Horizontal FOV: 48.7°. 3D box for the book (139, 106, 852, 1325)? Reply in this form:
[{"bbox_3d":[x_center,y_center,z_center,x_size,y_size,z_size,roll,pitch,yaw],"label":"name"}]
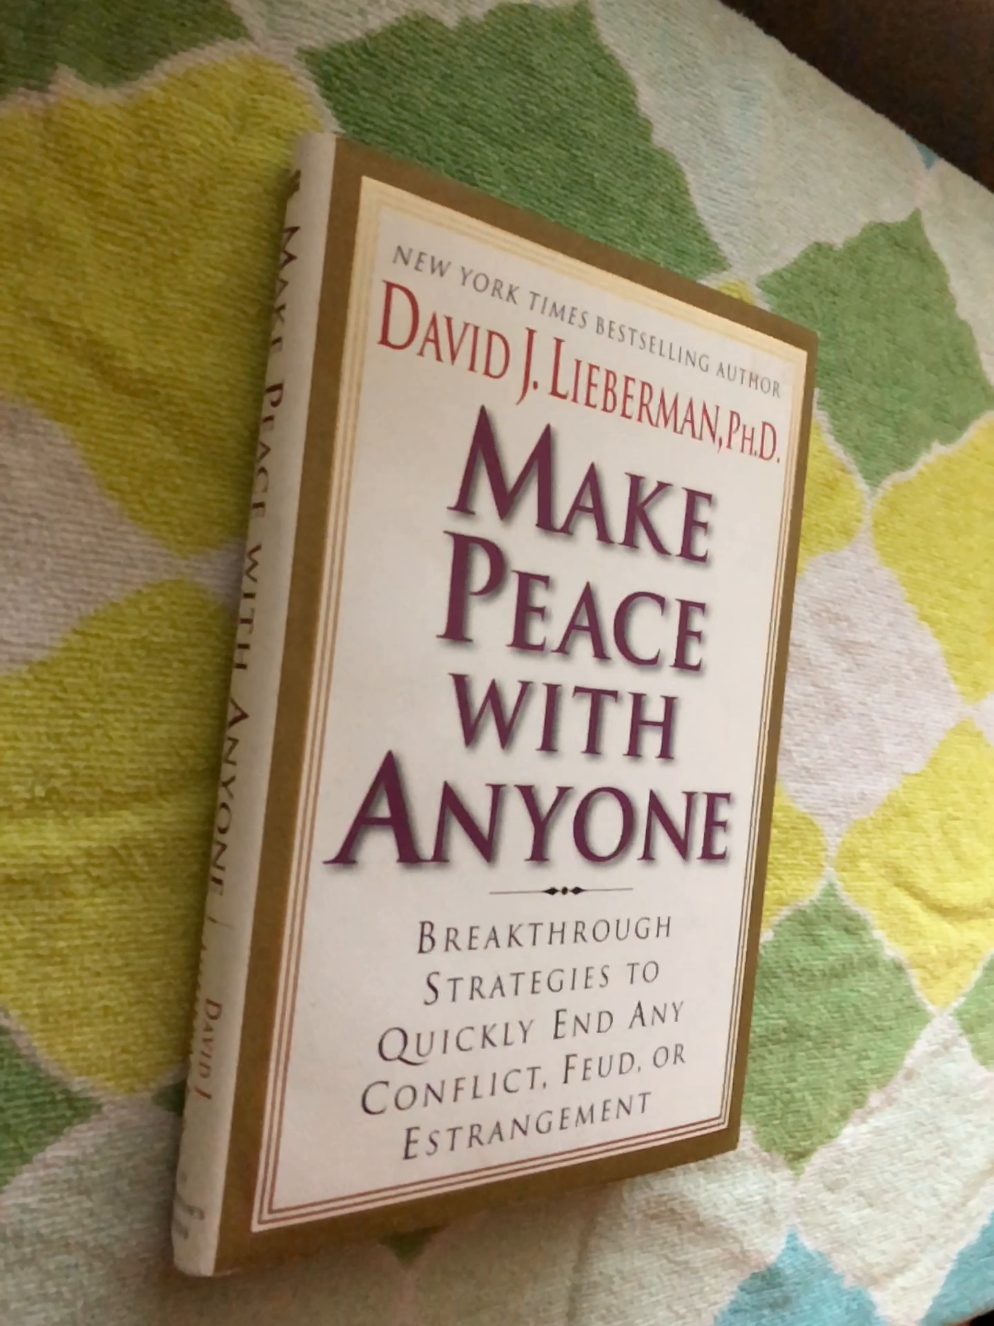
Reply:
[{"bbox_3d":[0.011,0.014,0.236,0.146,0.030,0.204,7,87,-35],"label":"book"}]
